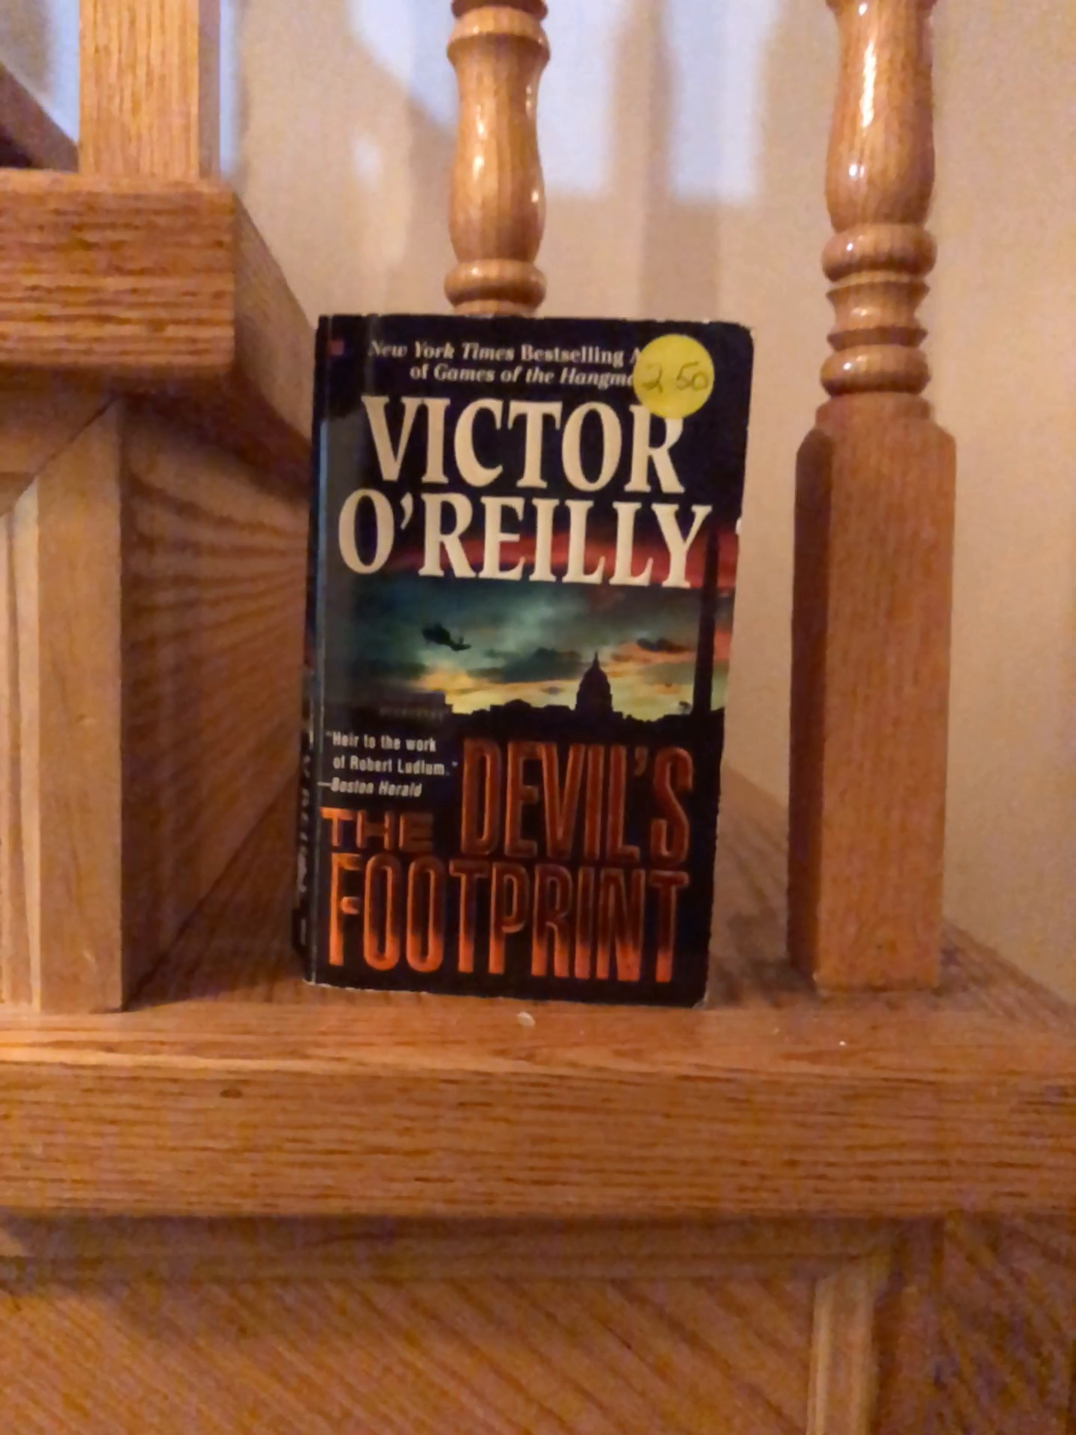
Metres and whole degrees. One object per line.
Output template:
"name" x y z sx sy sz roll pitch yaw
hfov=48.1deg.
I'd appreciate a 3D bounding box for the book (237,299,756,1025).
"book" -0.009 -0.015 0.313 0.120 0.170 0.050 2 9 8
